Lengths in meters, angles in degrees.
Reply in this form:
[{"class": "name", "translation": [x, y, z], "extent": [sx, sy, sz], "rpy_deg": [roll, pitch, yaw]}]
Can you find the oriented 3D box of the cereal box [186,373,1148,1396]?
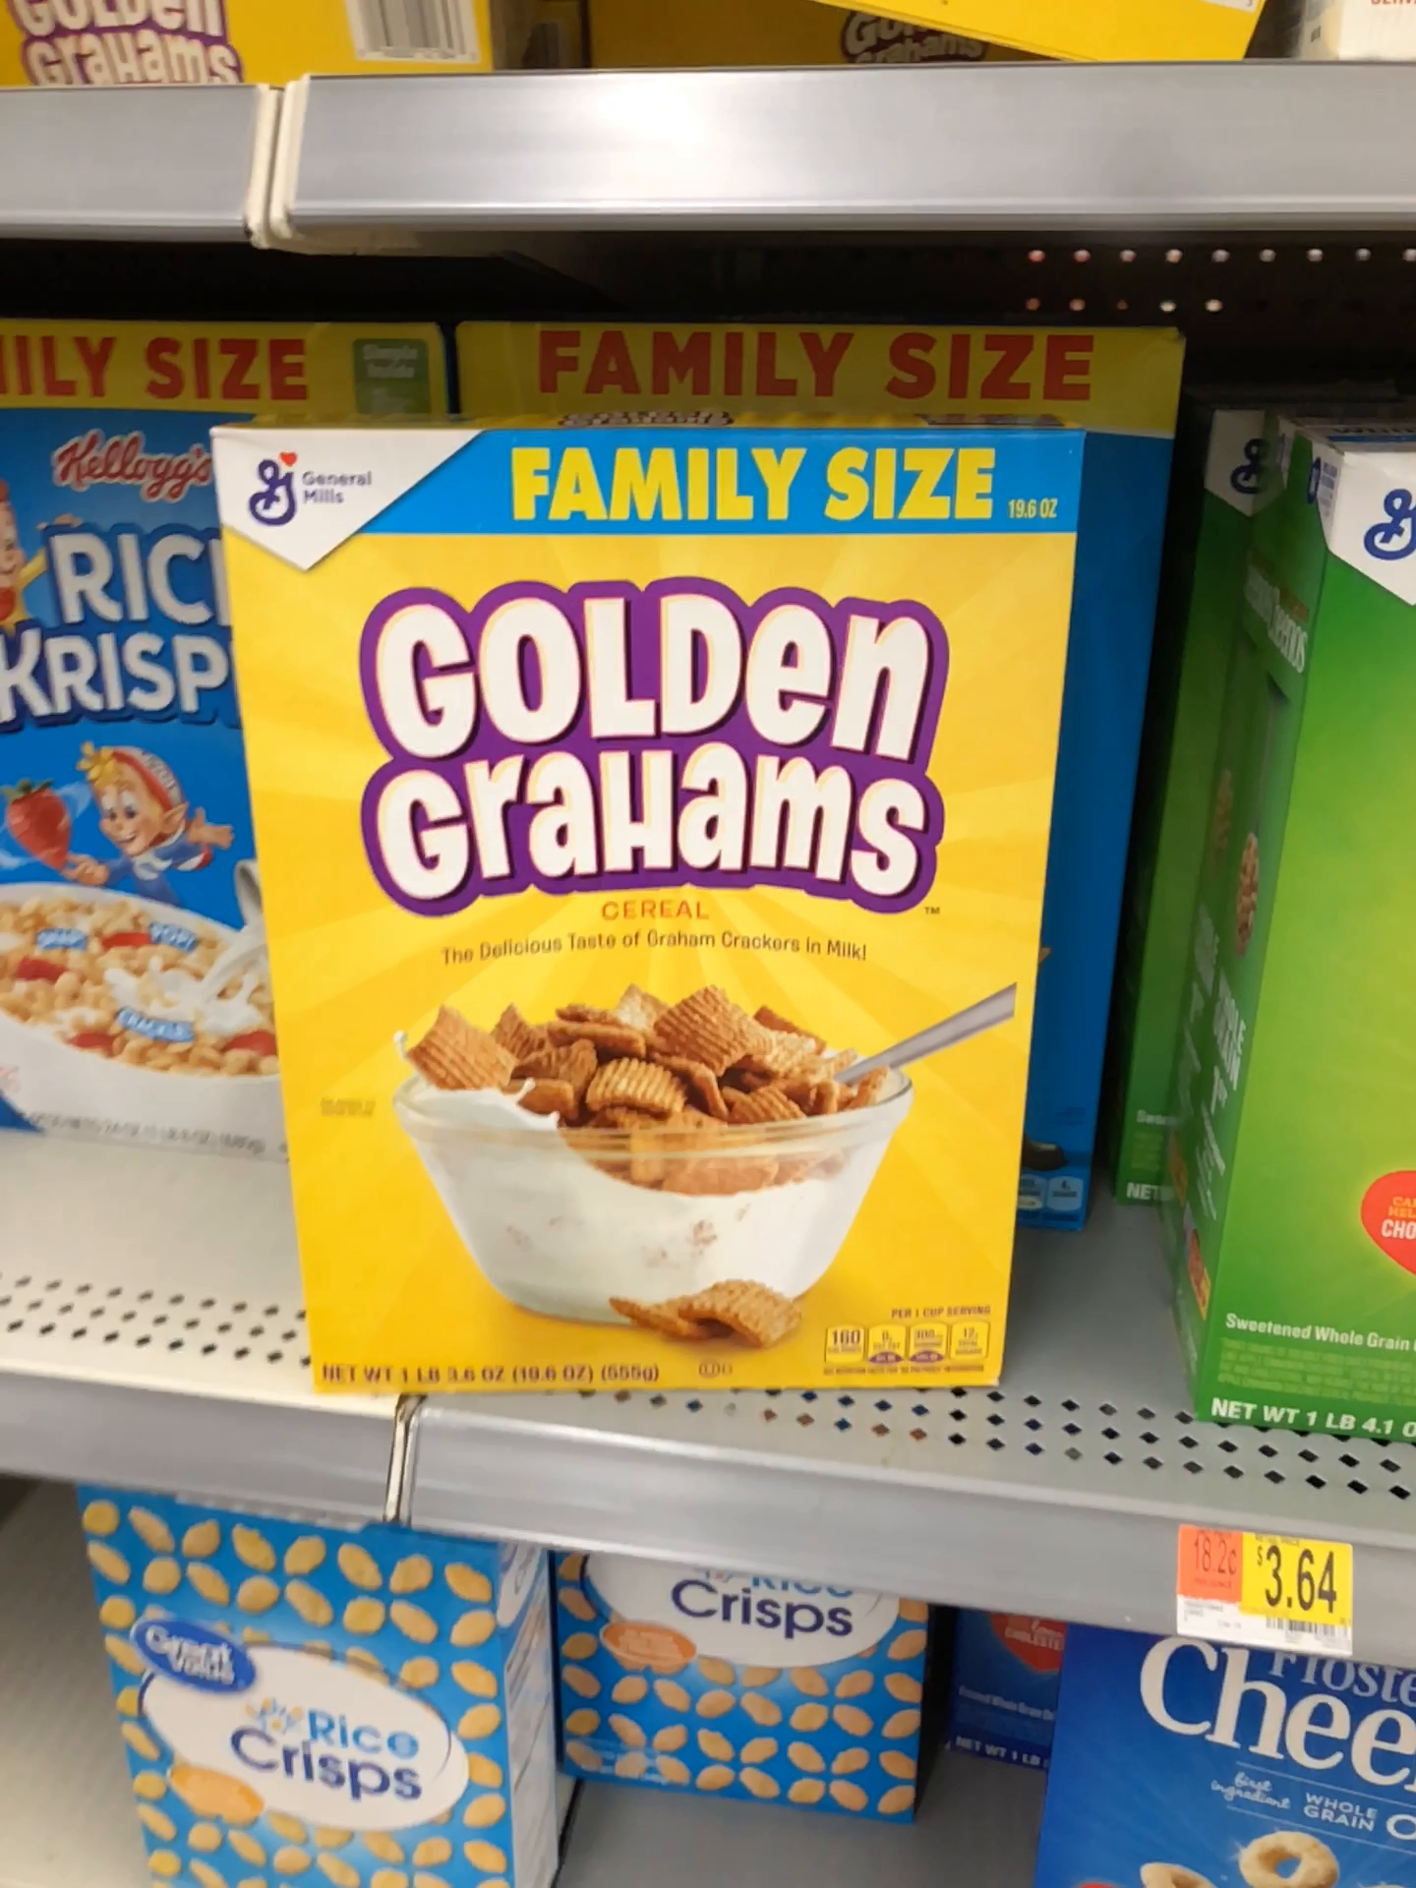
[{"class": "cereal box", "translation": [-0.011, -0.009, 0.485], "extent": [0.240, 0.309, 0.070], "rpy_deg": [0, 24, -2]}]
